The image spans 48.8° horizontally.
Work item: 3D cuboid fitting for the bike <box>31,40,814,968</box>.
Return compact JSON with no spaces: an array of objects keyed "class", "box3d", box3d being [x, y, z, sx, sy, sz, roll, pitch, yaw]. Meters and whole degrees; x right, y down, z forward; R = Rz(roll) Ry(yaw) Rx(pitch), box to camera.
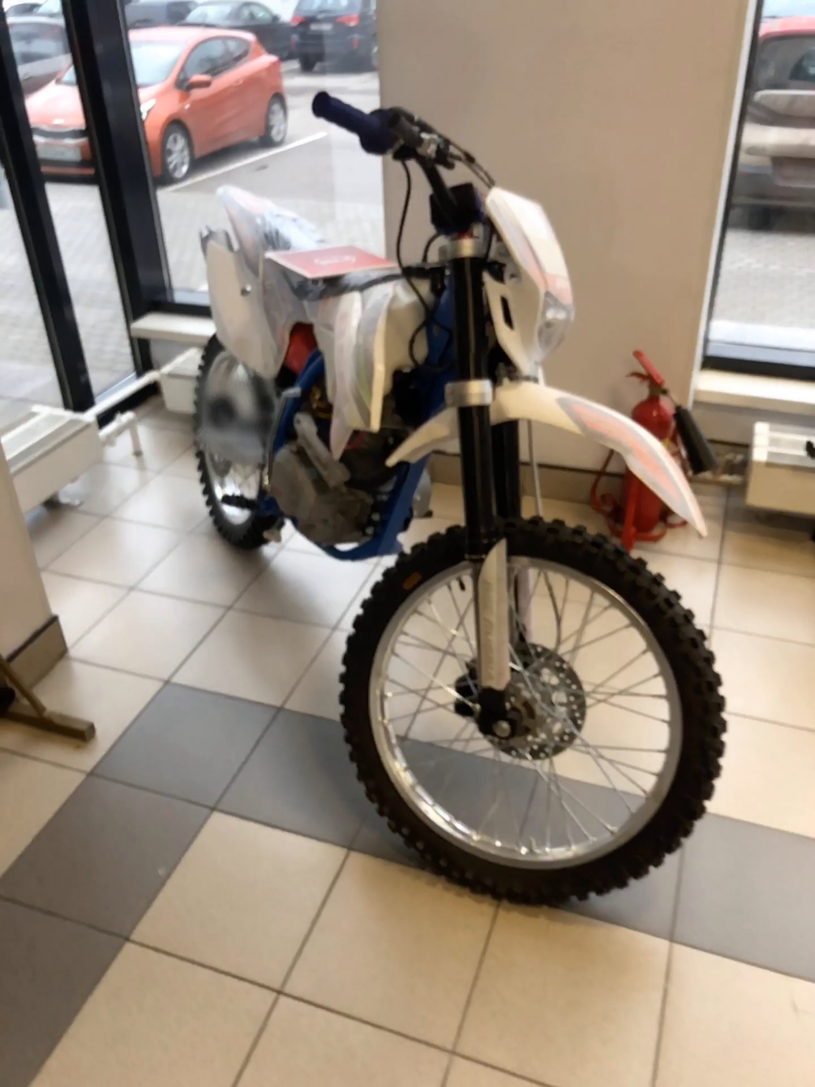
[{"class":"bike","box3d":[0.049,-0.336,2.015,0.844,1.219,1.851,-22,39,-30]}]
